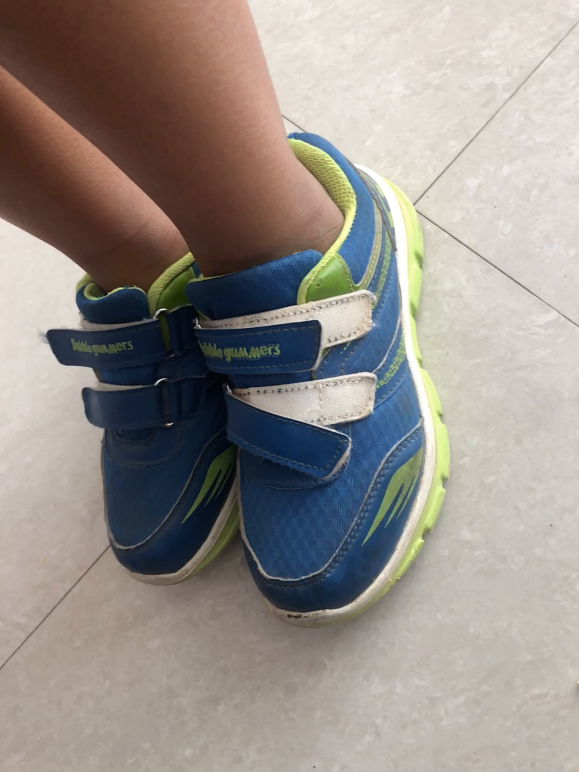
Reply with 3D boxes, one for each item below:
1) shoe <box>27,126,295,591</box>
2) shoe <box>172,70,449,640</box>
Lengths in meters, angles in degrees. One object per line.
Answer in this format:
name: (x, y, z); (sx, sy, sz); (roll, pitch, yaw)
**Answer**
shoe: (-0.060, -0.013, 0.336); (0.090, 0.060, 0.220); (-4, 72, 29)
shoe: (0.017, -0.014, 0.281); (0.090, 0.060, 0.220); (-5, 71, 28)
